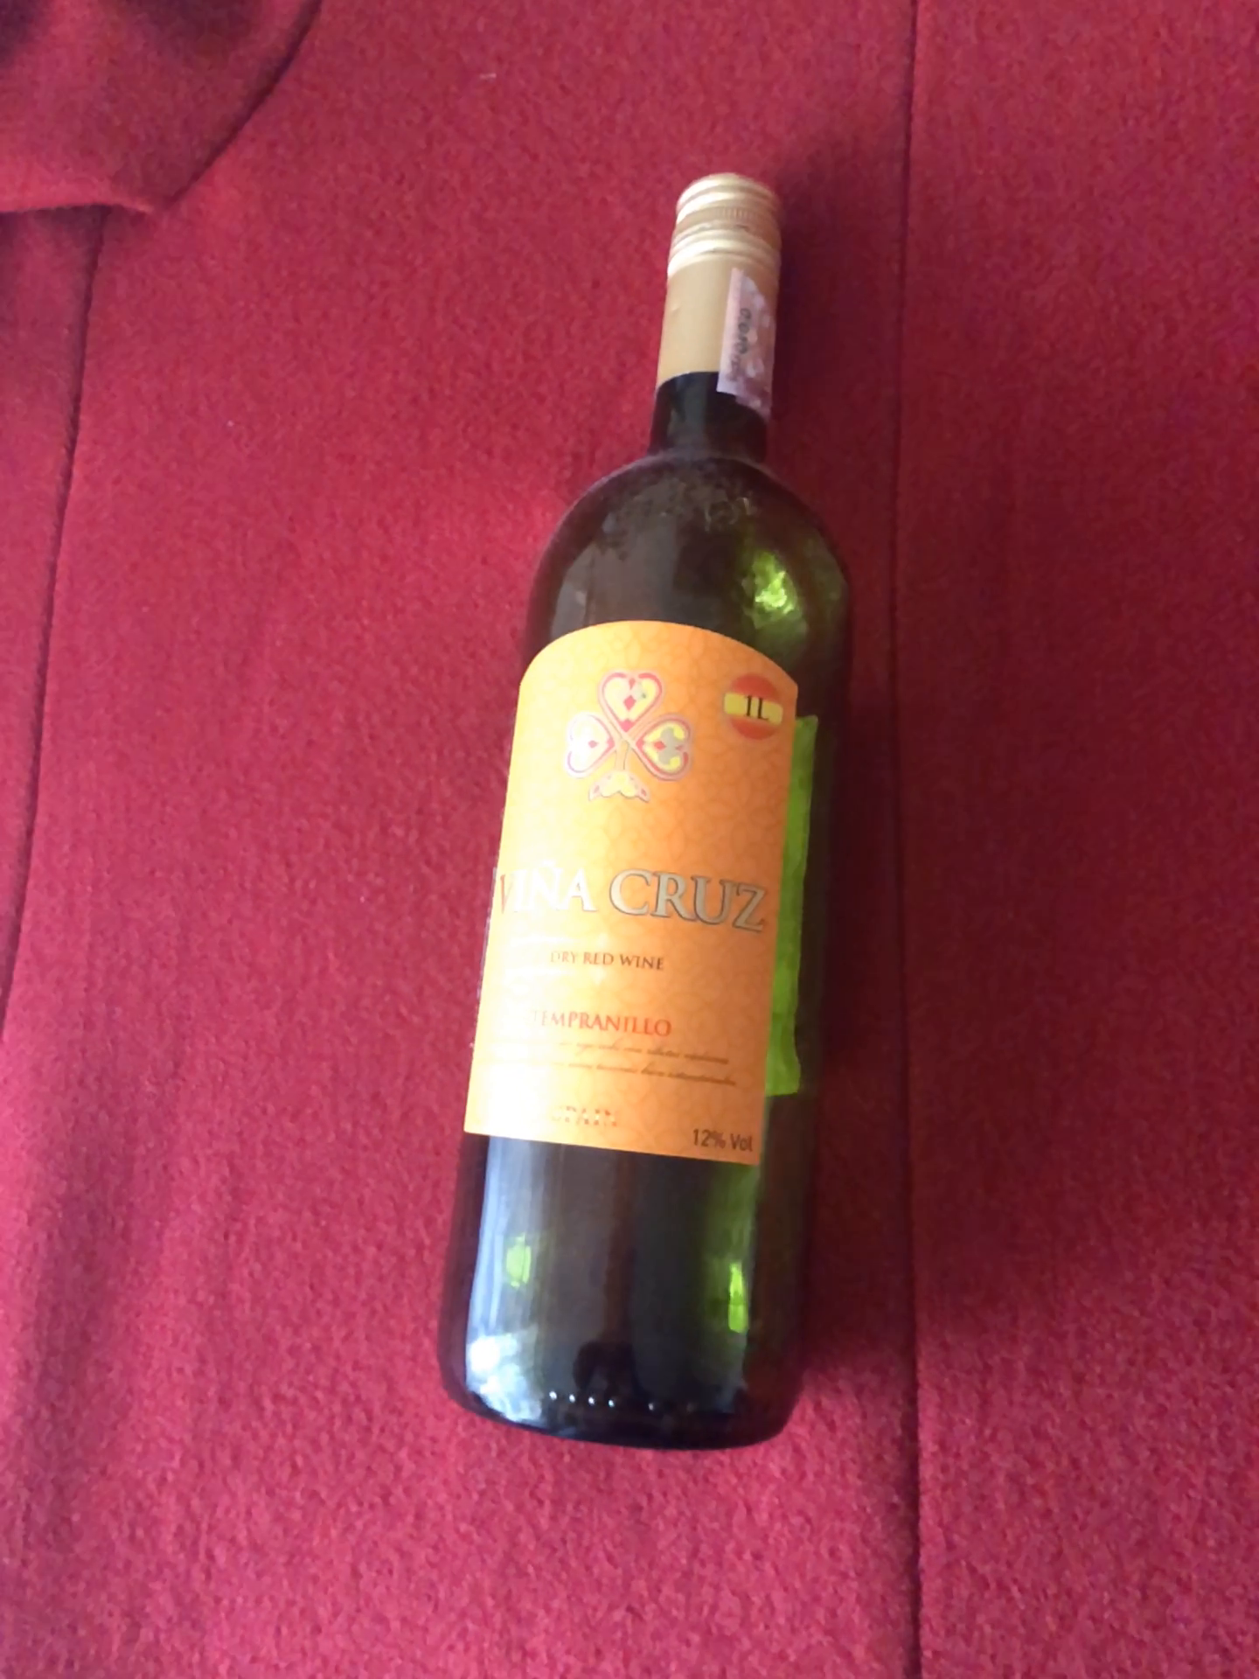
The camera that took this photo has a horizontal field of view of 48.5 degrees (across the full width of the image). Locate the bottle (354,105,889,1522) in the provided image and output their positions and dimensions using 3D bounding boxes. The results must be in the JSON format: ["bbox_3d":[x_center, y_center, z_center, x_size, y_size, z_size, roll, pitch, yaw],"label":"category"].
[{"bbox_3d":[0.009,-0.015,0.330,0.080,0.070,0.300,2,77,17],"label":"bottle"}]
